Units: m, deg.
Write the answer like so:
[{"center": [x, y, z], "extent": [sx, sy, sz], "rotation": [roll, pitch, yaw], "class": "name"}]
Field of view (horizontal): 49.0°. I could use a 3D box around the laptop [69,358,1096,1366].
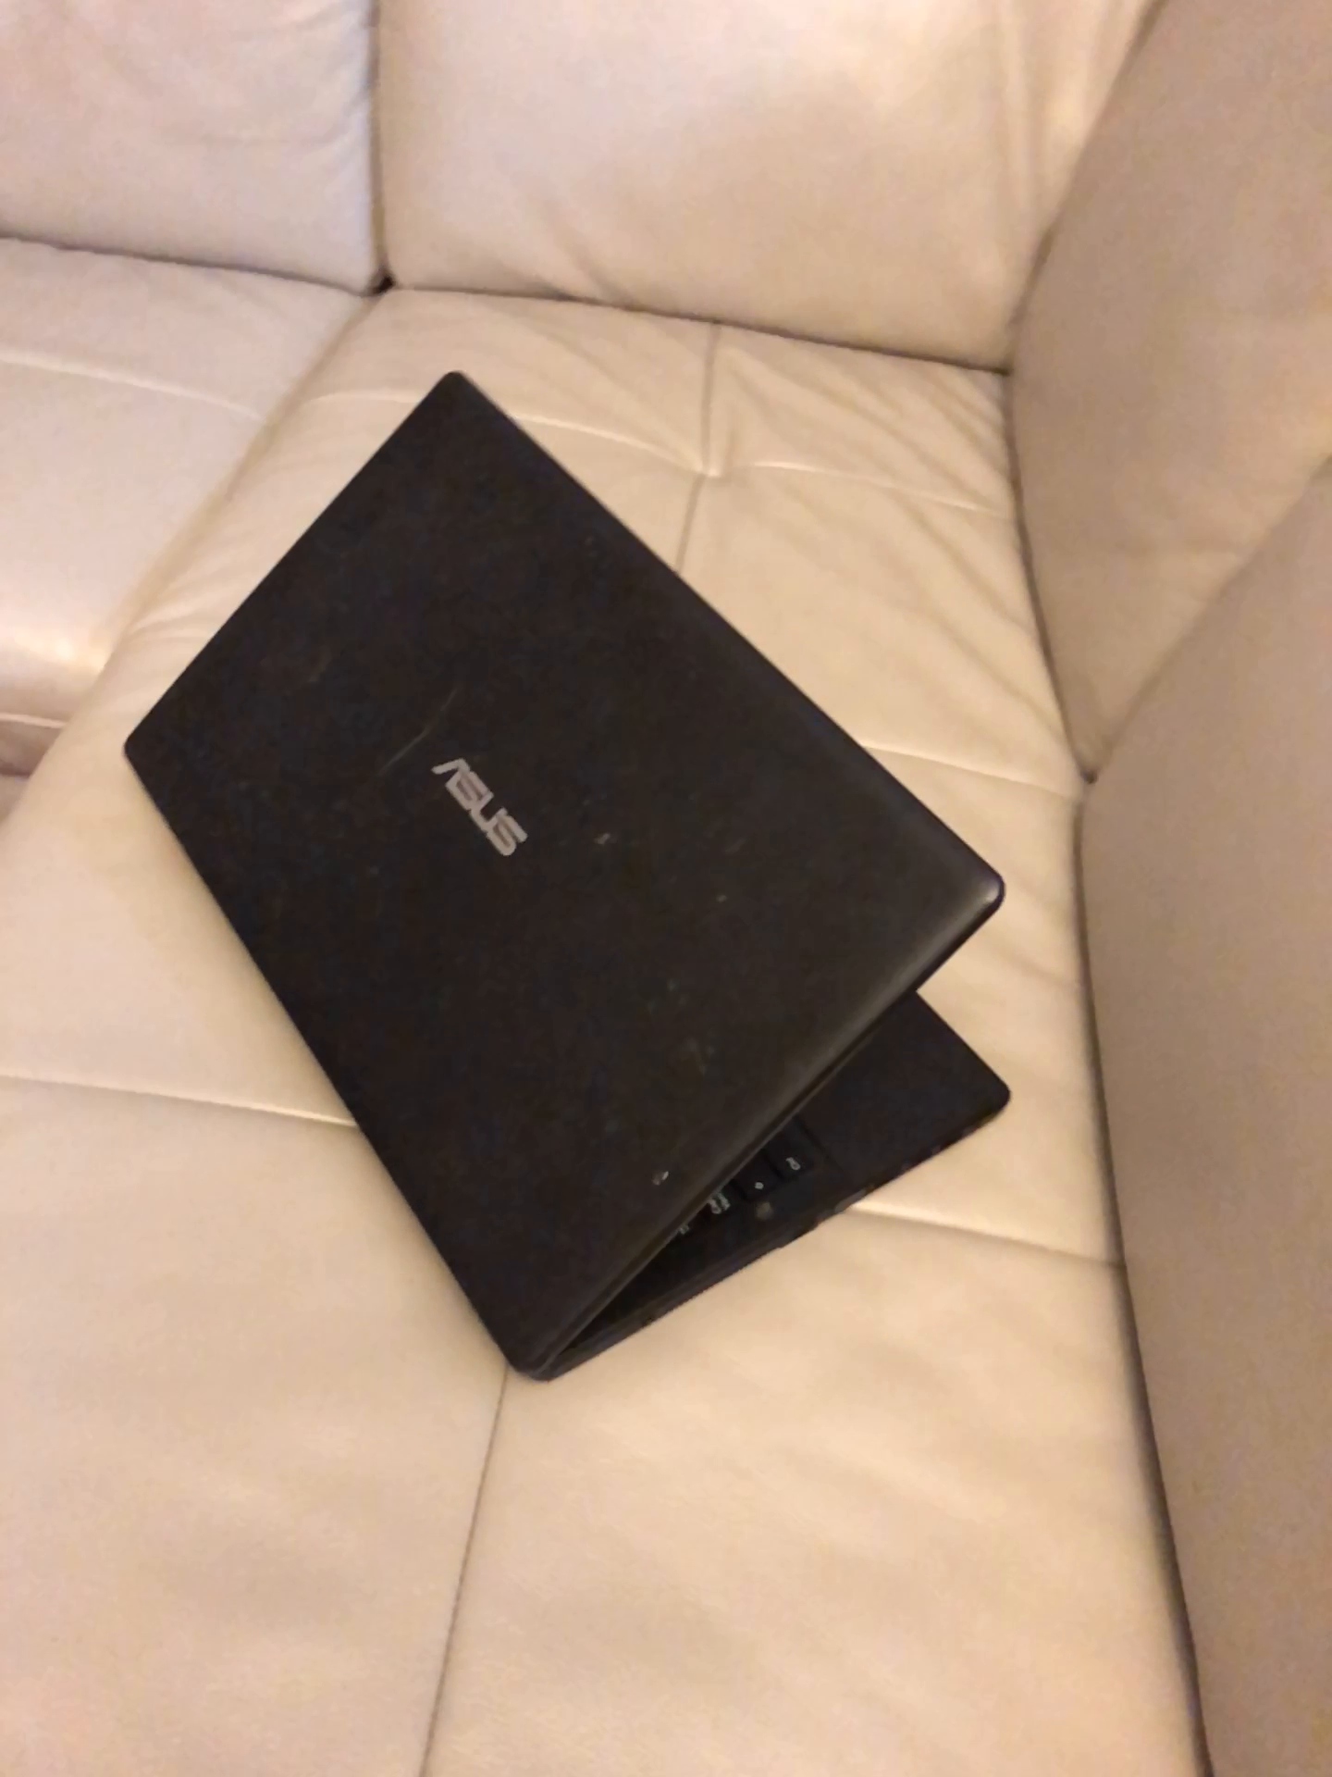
[{"center": [-0.053, -0.046, 0.620], "extent": [0.242, 0.155, 0.372], "rotation": [-22, 53, -27], "class": "laptop"}]
